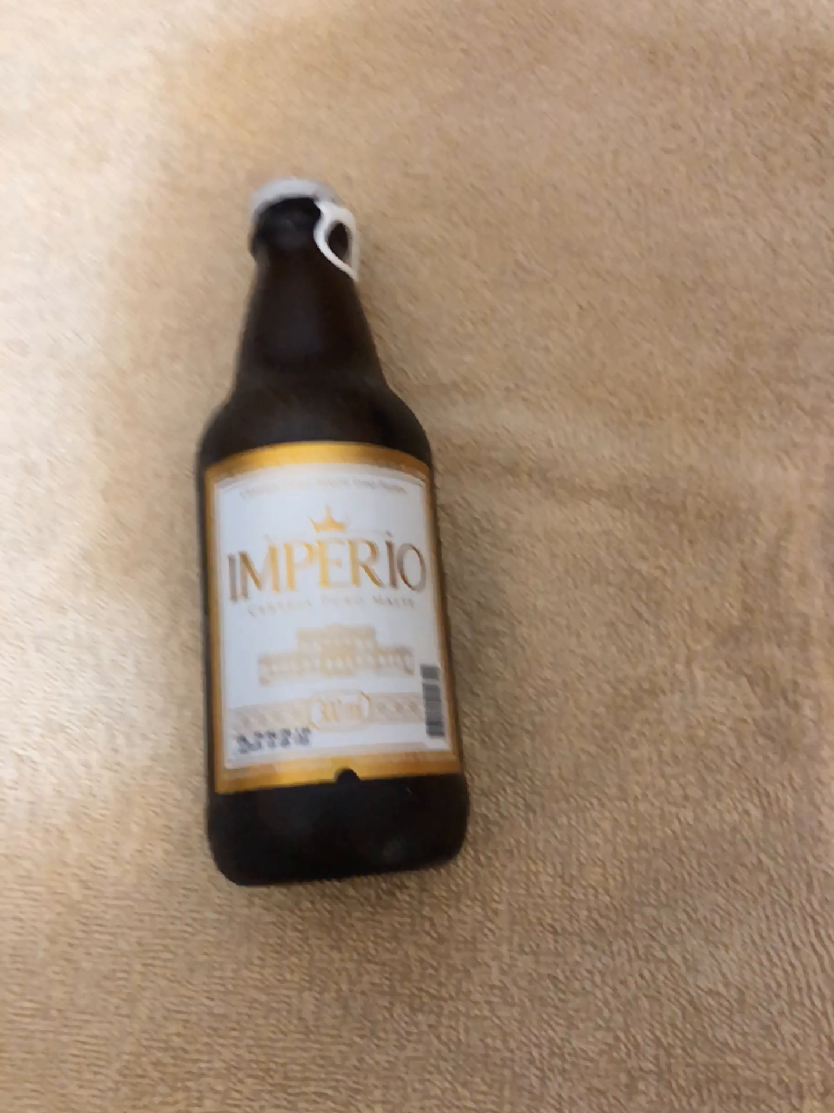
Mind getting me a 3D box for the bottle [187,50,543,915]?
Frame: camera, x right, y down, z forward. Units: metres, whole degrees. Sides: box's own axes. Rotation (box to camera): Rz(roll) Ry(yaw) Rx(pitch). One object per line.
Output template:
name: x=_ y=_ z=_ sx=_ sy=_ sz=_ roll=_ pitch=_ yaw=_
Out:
bottle: x=-0.015 y=-0.020 z=0.226 sx=0.060 sy=0.060 sz=0.190 roll=-6 pitch=73 yaw=0
